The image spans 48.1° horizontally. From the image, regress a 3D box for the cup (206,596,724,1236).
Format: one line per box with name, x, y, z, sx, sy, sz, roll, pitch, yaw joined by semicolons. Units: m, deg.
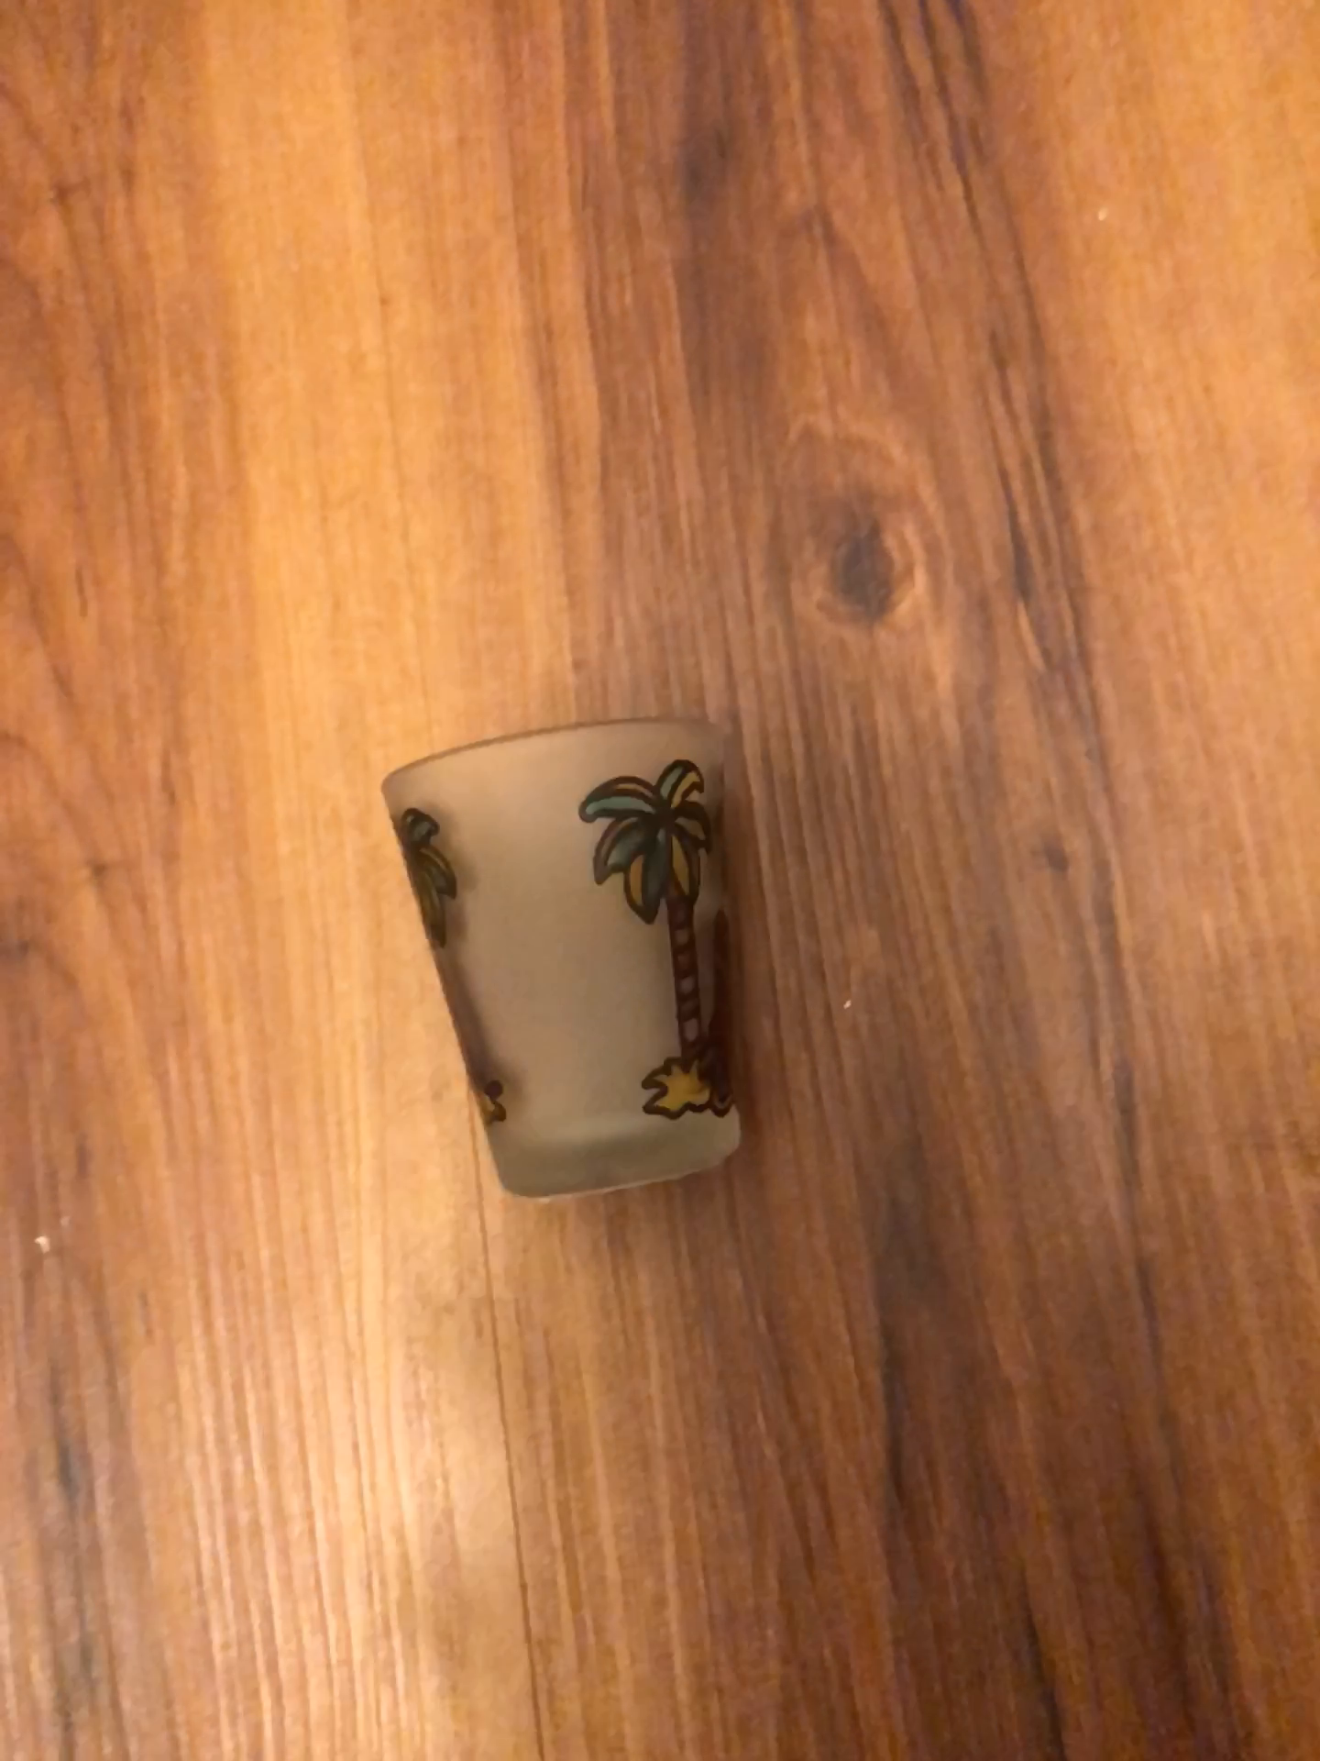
cup;-0.024;0.007;0.200;0.050;0.045;0.070;-10;80;9
